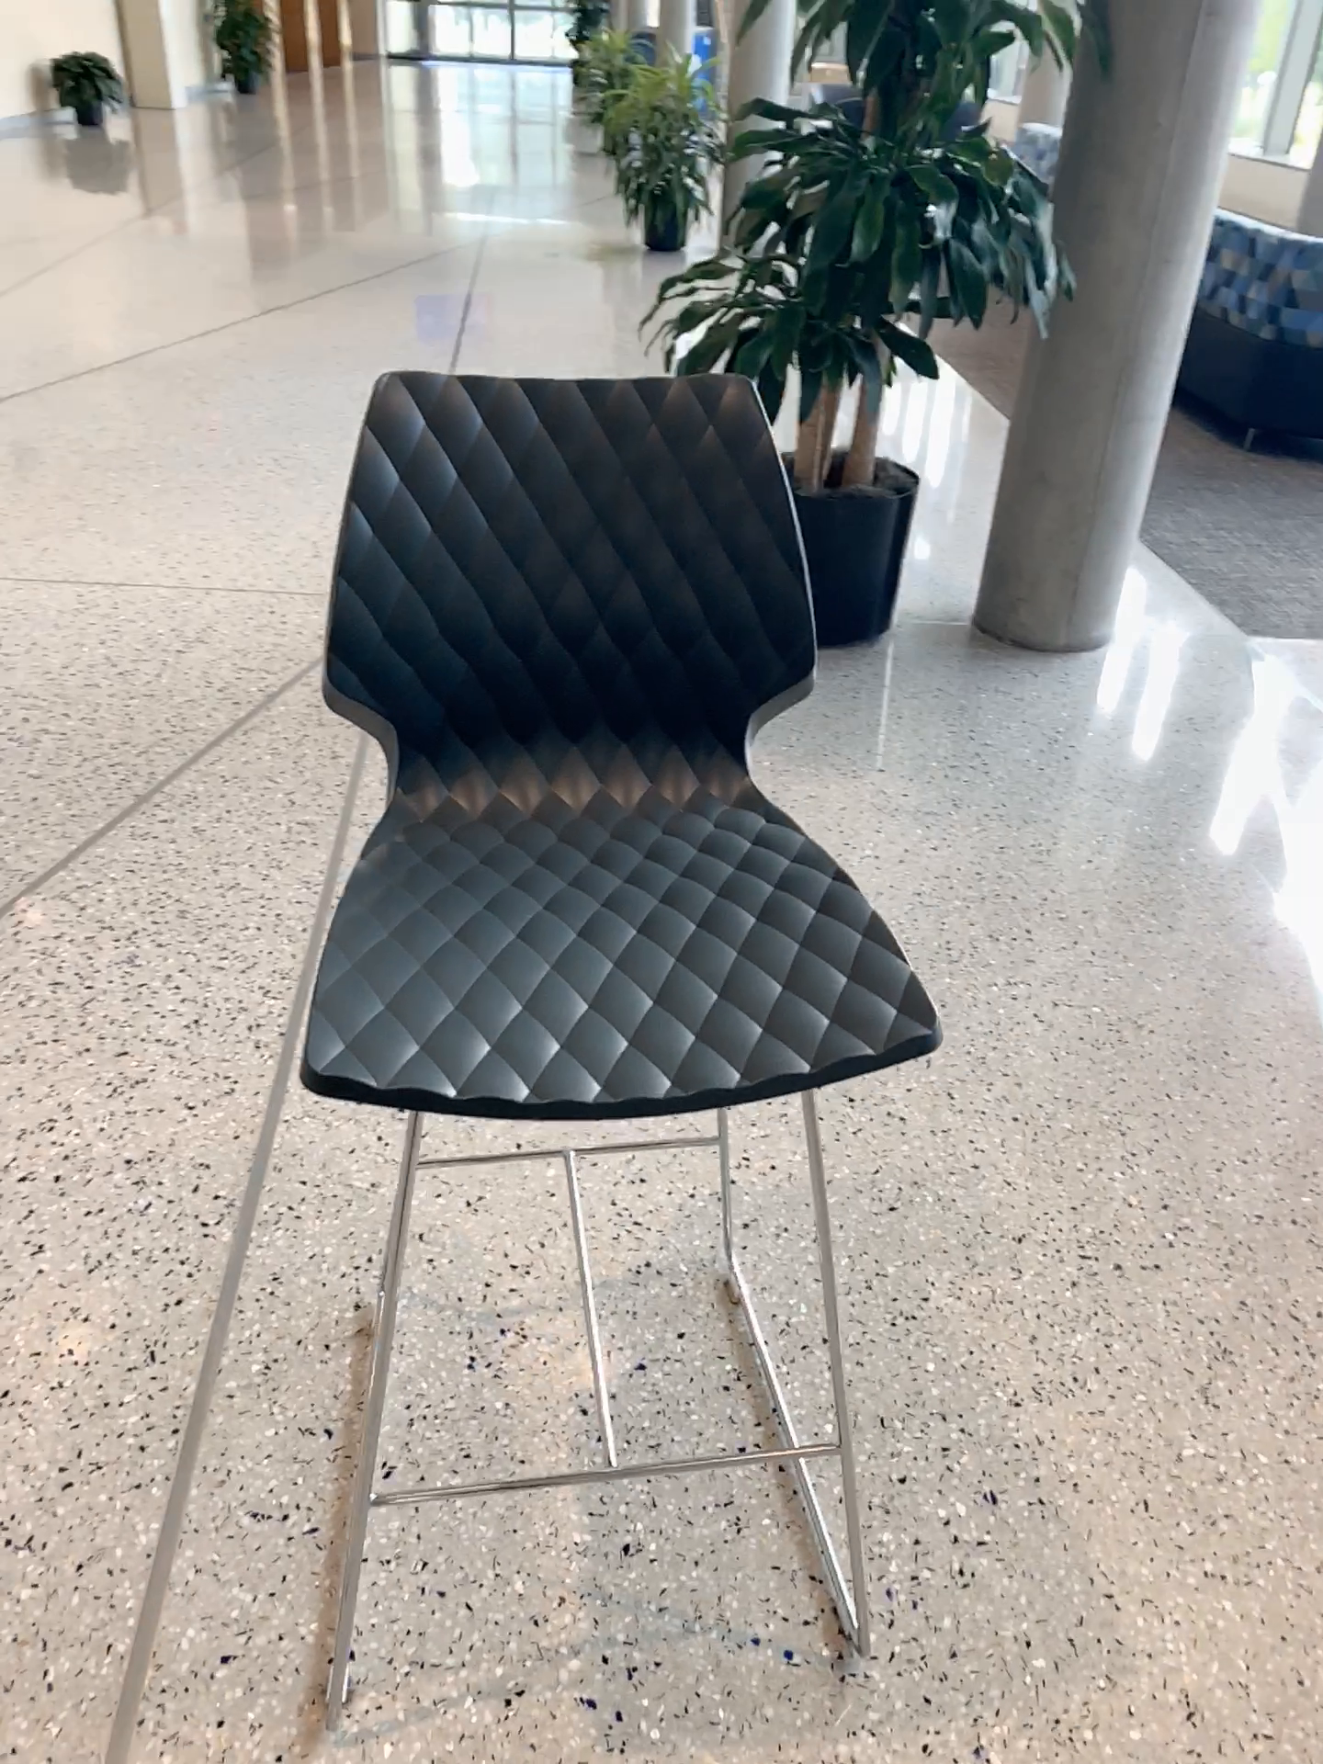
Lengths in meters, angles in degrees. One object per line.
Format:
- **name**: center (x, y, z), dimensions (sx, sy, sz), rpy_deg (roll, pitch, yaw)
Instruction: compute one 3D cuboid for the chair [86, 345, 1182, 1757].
- **chair**: center (-0.058, 0.156, 1.157), dimensions (0.531, 1.048, 0.551), rpy_deg (-2, 32, -8)
